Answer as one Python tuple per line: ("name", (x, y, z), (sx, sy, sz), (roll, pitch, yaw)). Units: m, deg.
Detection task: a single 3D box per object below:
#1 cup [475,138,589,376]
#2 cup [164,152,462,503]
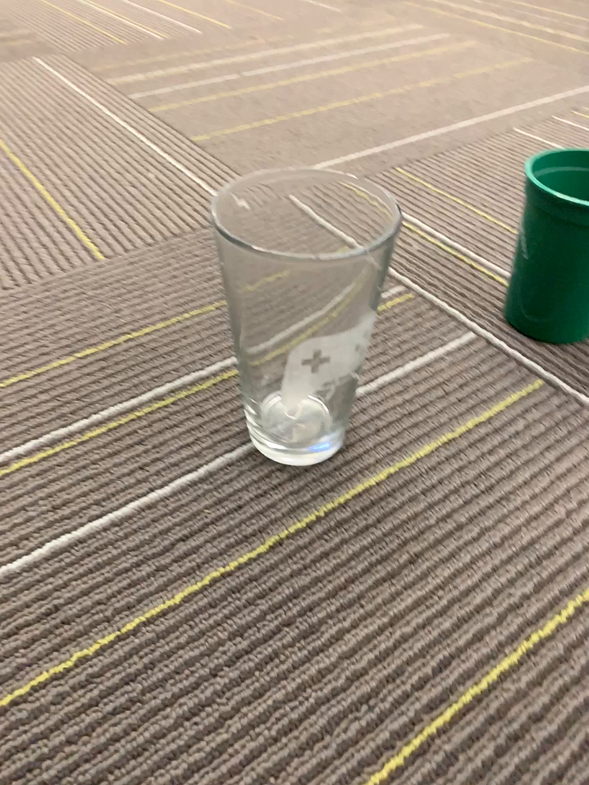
("cup", (0.187, -0.090, 0.407), (0.070, 0.119, 0.080), (-20, 47, -21))
("cup", (0.008, -0.034, 0.300), (0.090, 0.119, 0.090), (0, 43, 0))
